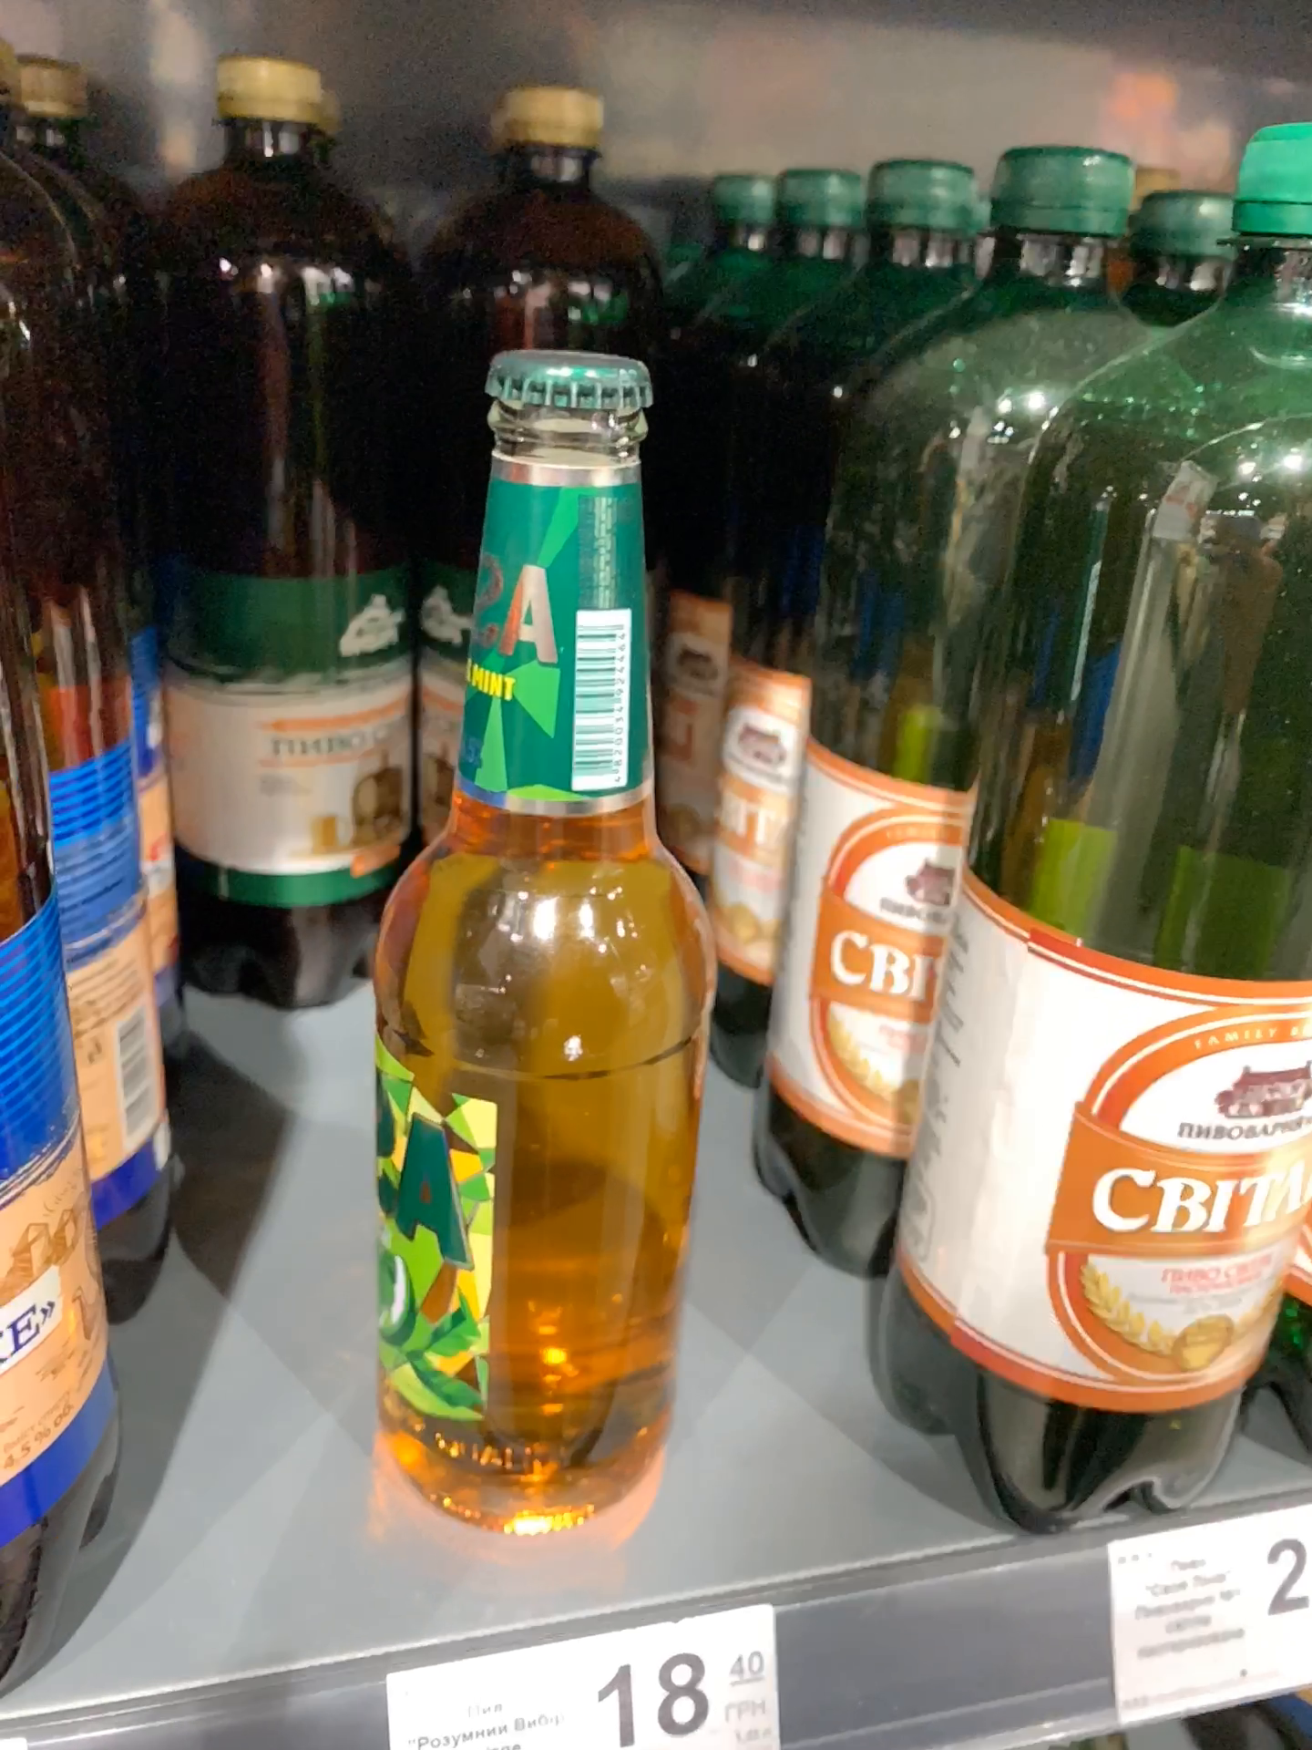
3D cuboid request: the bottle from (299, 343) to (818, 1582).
[{"bbox_3d":[-0.027,0.022,0.286,0.066,0.238,0.072,4,24,-2],"label":"bottle"}]
